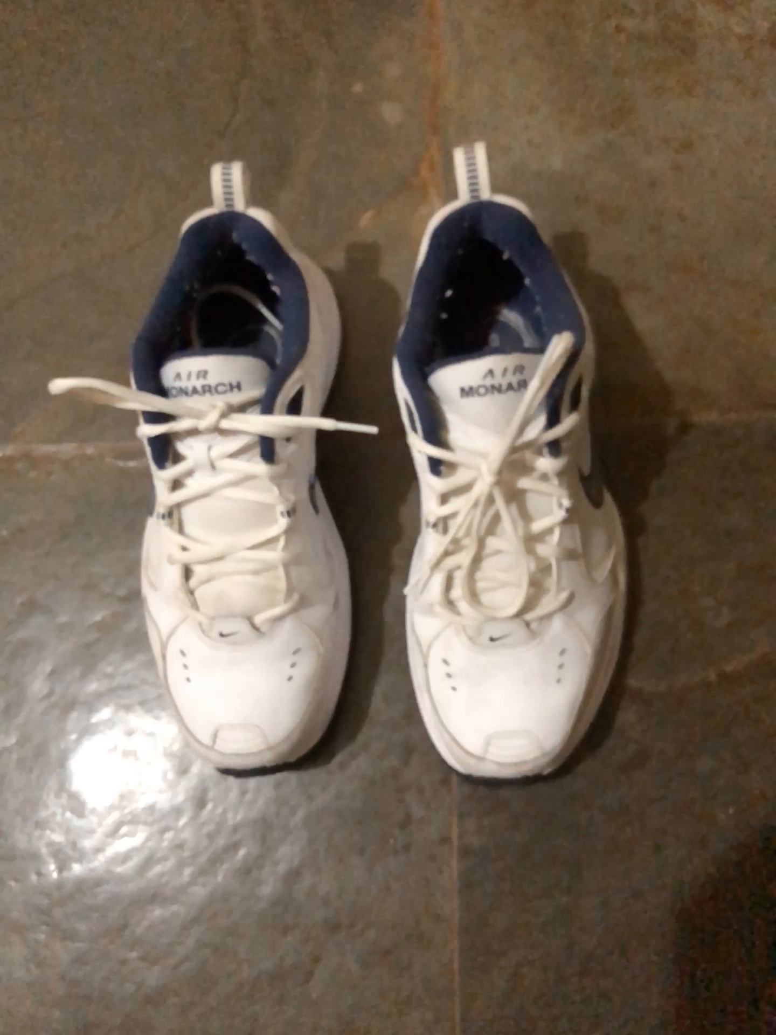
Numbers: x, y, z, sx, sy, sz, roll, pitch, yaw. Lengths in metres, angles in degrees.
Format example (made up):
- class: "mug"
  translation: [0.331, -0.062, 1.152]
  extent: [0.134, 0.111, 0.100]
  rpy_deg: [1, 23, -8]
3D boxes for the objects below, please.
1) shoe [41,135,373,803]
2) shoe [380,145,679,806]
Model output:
- class: "shoe"
  translation: [-0.081, -0.016, 0.457]
  extent: [0.120, 0.150, 0.300]
  rpy_deg: [-3, 77, 5]
- class: "shoe"
  translation: [0.064, -0.014, 0.457]
  extent: [0.120, 0.150, 0.300]
  rpy_deg: [-1, 77, 5]
